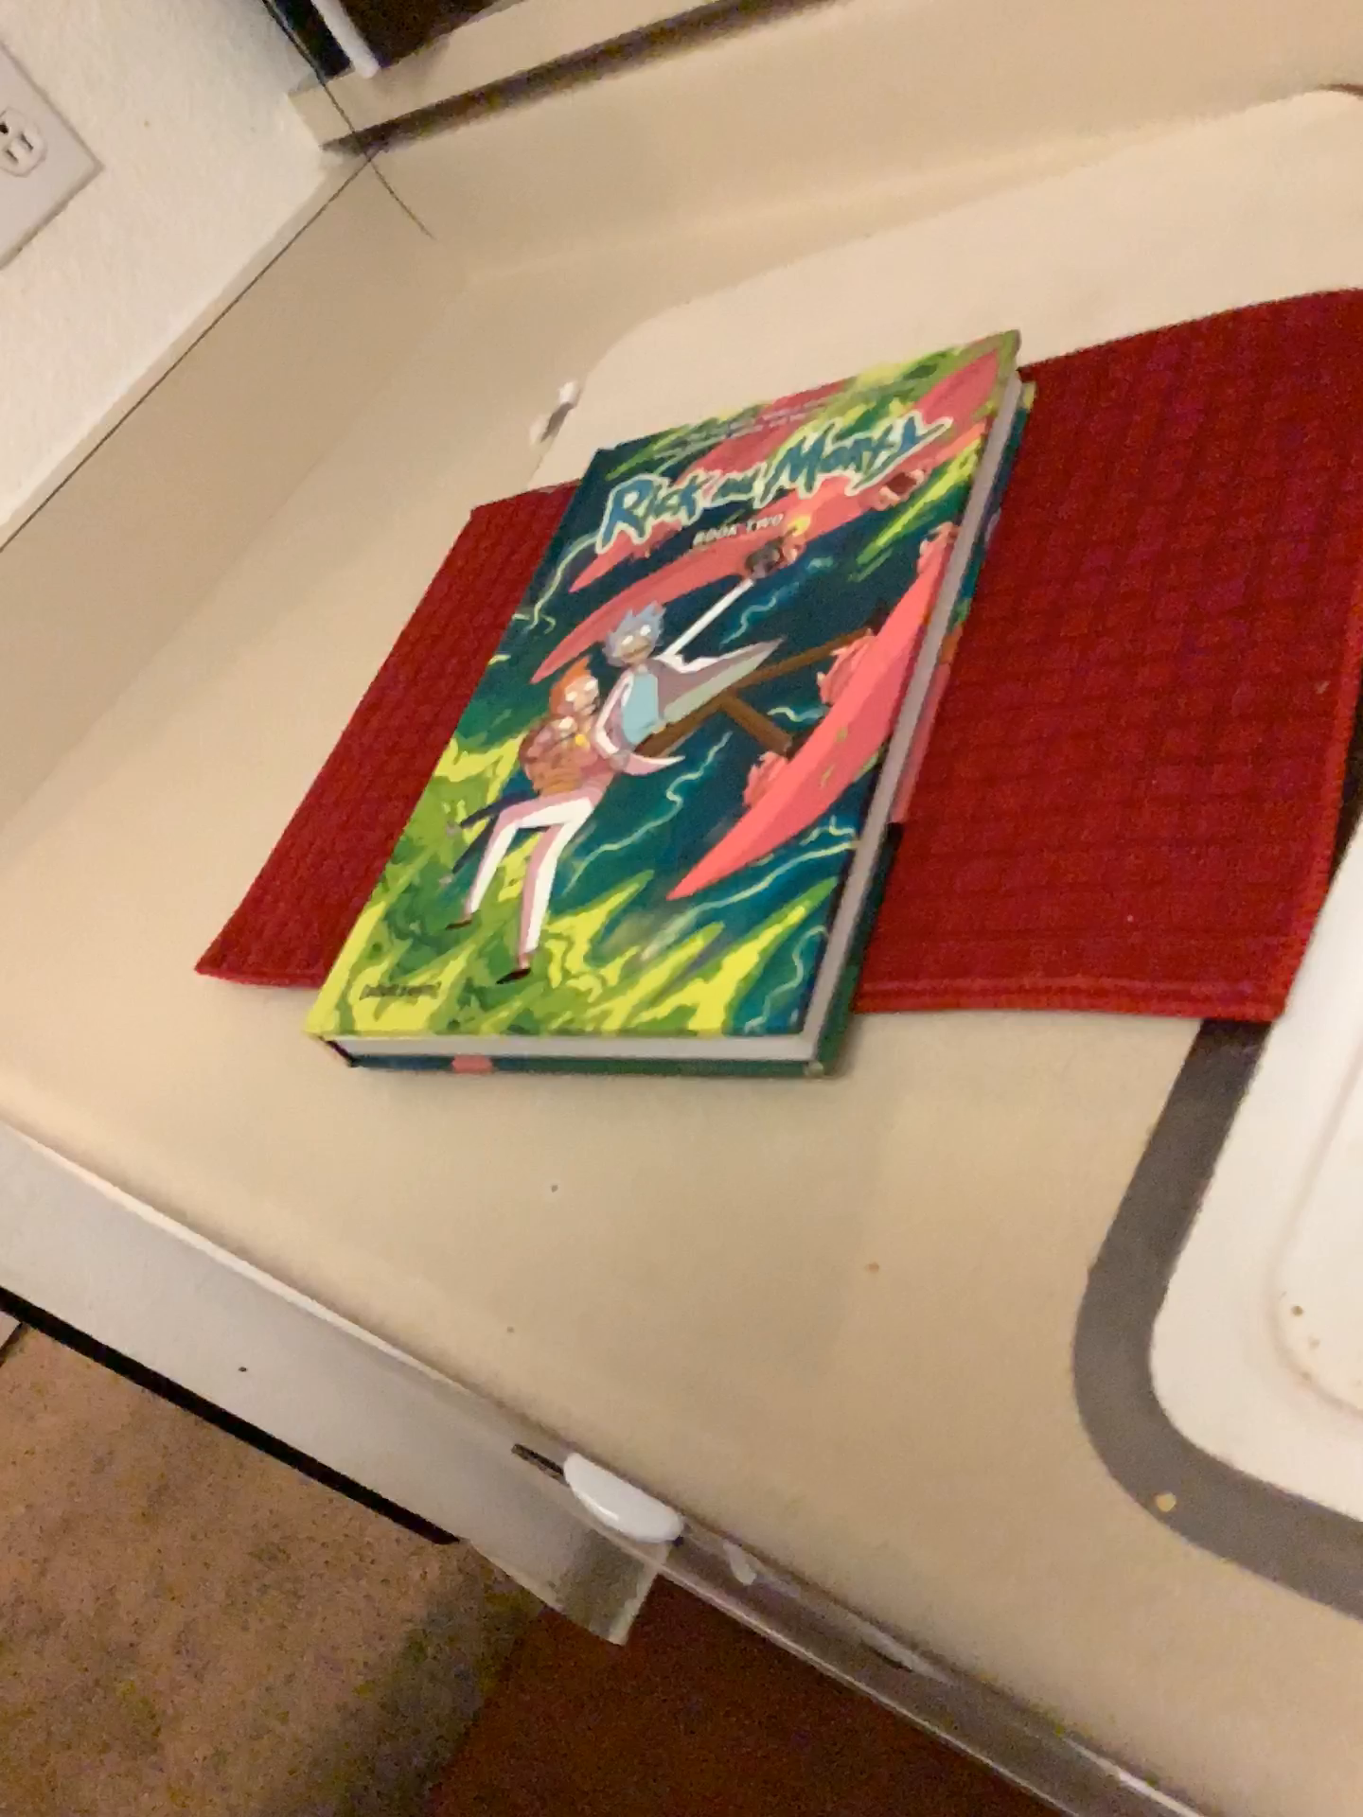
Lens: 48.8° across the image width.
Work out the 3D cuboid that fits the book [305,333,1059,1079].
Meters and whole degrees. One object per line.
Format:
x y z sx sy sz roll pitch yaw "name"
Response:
0.007 -0.078 0.543 0.200 0.030 0.300 -3 52 35 "book"
